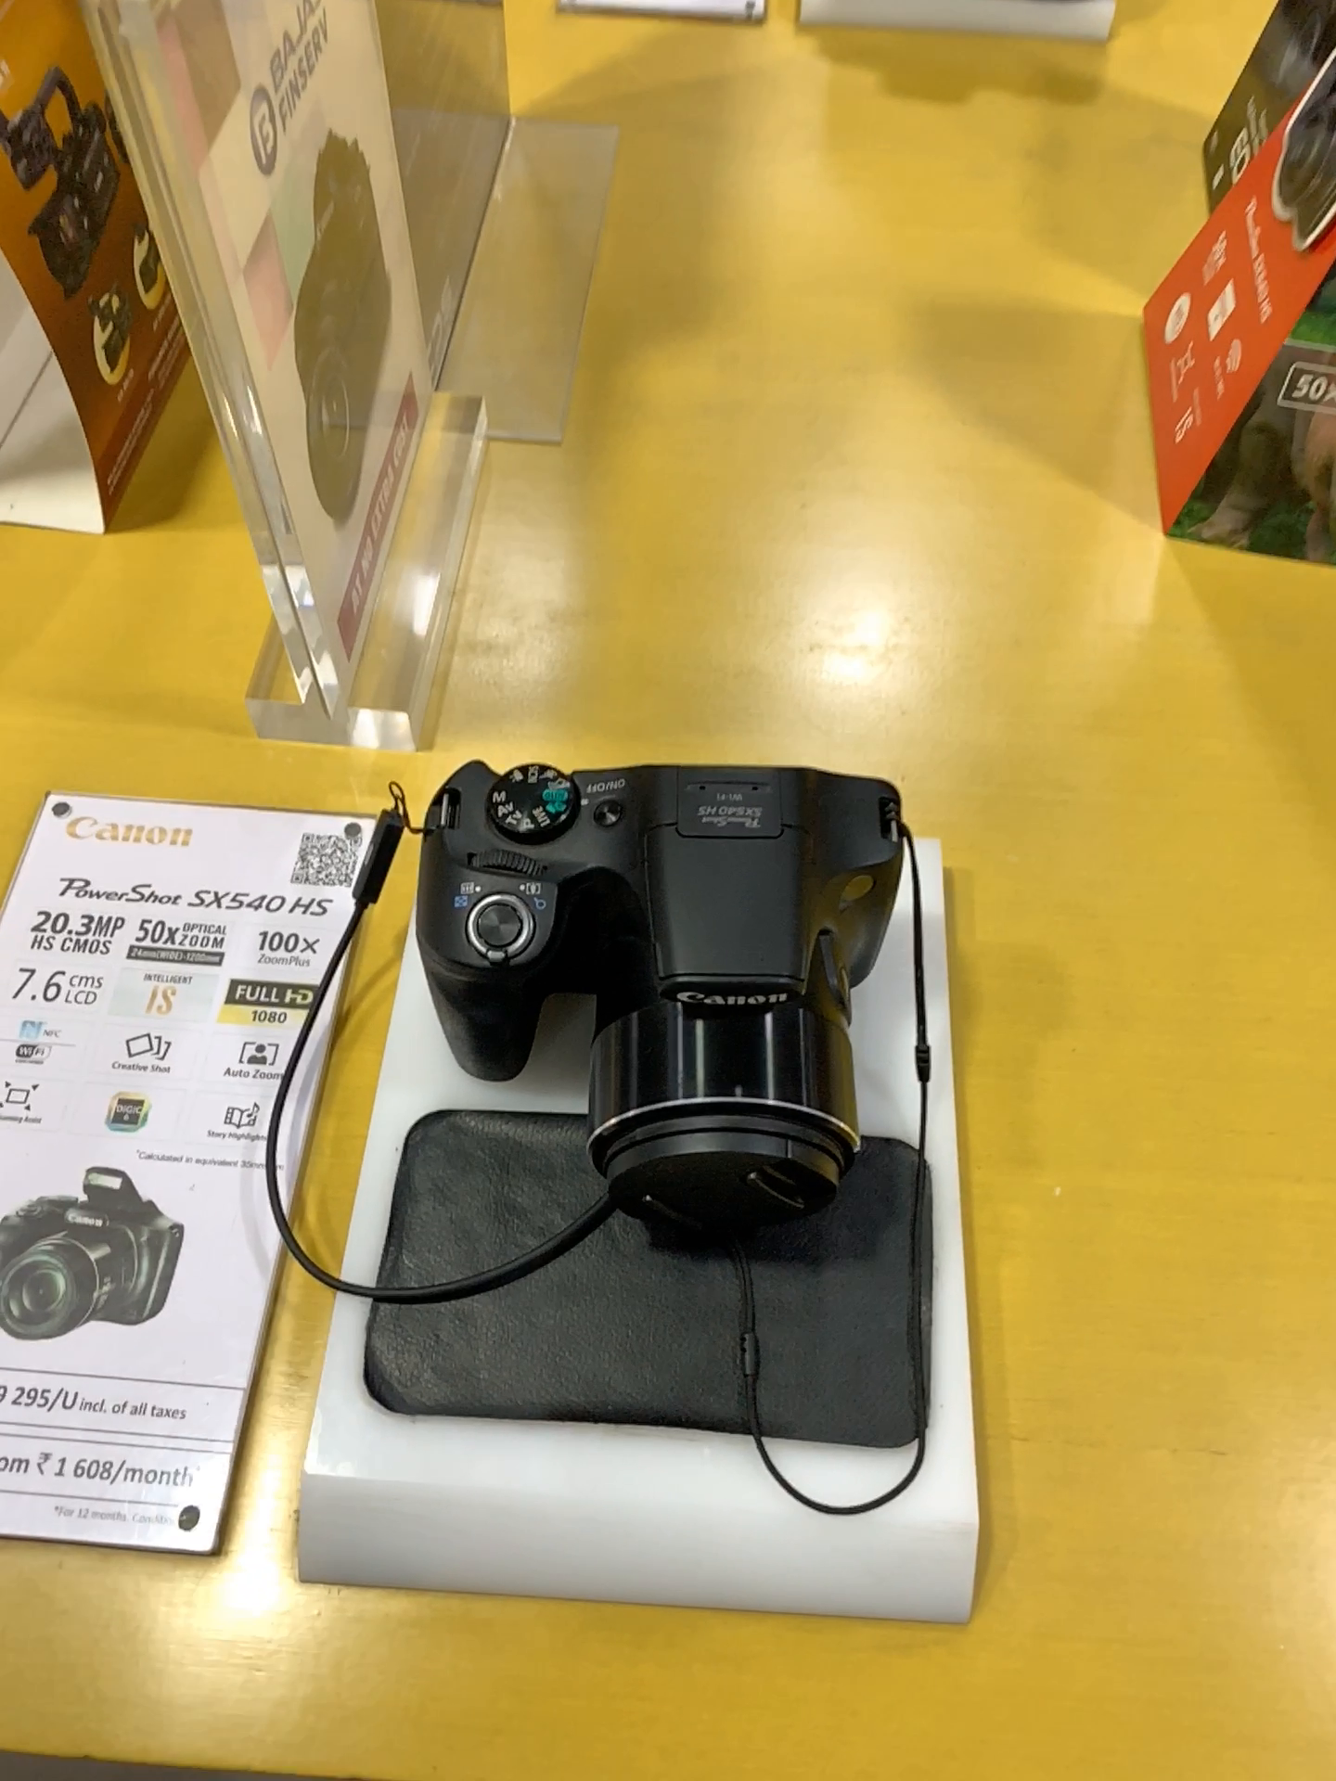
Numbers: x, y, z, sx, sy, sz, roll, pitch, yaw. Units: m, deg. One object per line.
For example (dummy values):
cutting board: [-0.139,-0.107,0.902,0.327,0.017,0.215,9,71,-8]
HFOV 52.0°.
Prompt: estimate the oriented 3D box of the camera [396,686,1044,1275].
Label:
camera: [0.011,0.020,0.312,0.120,0.070,0.110,2,58,0]
